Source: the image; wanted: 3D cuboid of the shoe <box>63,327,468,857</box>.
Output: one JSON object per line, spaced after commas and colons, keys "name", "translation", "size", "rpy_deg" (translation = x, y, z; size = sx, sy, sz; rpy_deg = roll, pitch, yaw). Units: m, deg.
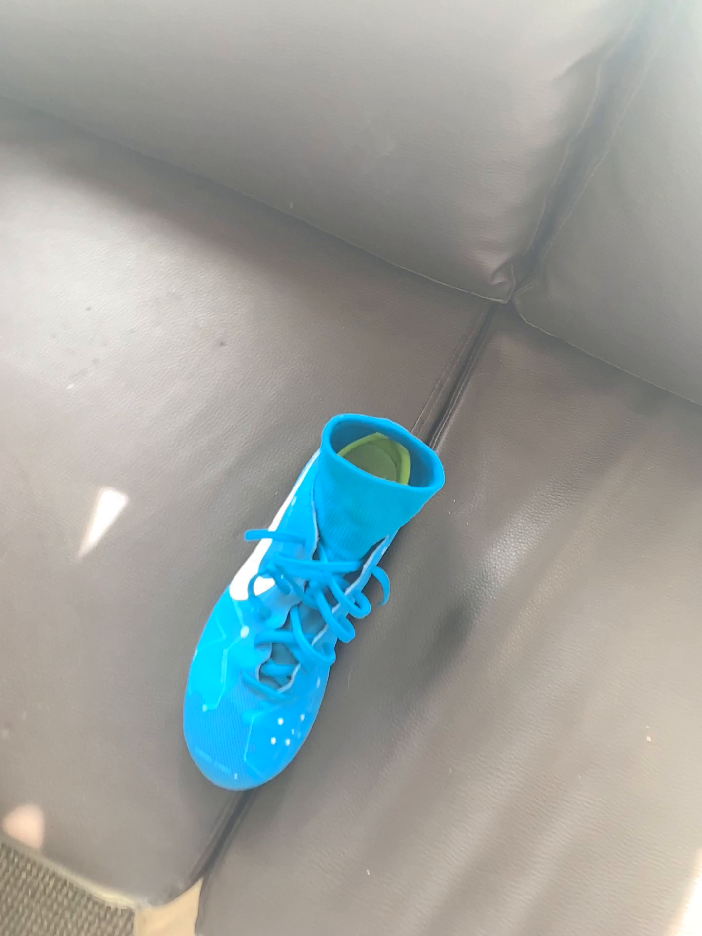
{"name": "shoe", "translation": [-0.036, 0.066, 0.419], "size": [0.098, 0.120, 0.251], "rpy_deg": [26, 74, 7]}
